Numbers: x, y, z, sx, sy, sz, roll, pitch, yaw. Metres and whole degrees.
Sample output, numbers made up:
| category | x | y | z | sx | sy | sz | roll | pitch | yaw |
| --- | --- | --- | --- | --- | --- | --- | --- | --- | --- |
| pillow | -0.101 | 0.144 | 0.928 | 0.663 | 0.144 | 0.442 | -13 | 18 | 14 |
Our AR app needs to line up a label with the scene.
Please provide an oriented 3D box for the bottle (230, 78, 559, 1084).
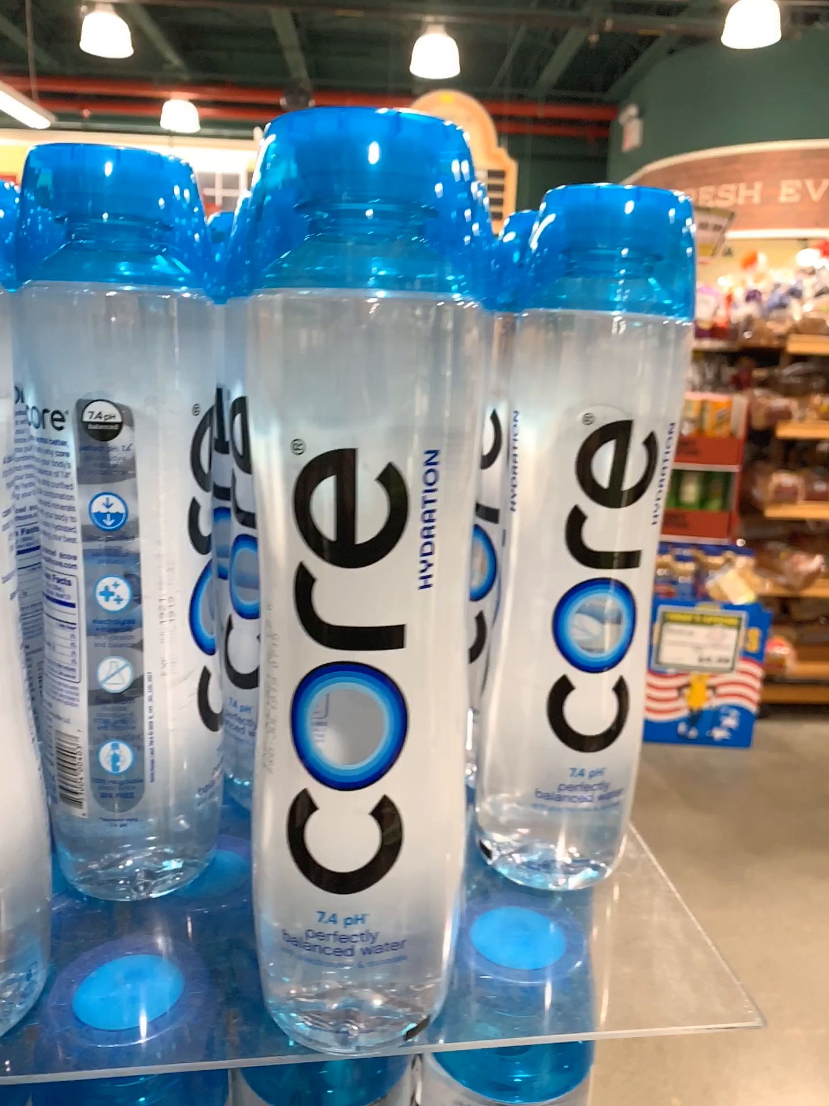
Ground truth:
| category | x | y | z | sx | sy | sz | roll | pitch | yaw |
| --- | --- | --- | --- | --- | --- | --- | --- | --- | --- |
| bottle | -0.010 | 0.016 | 0.285 | 0.080 | 0.289 | 0.090 | 2 | 13 | 0 |
